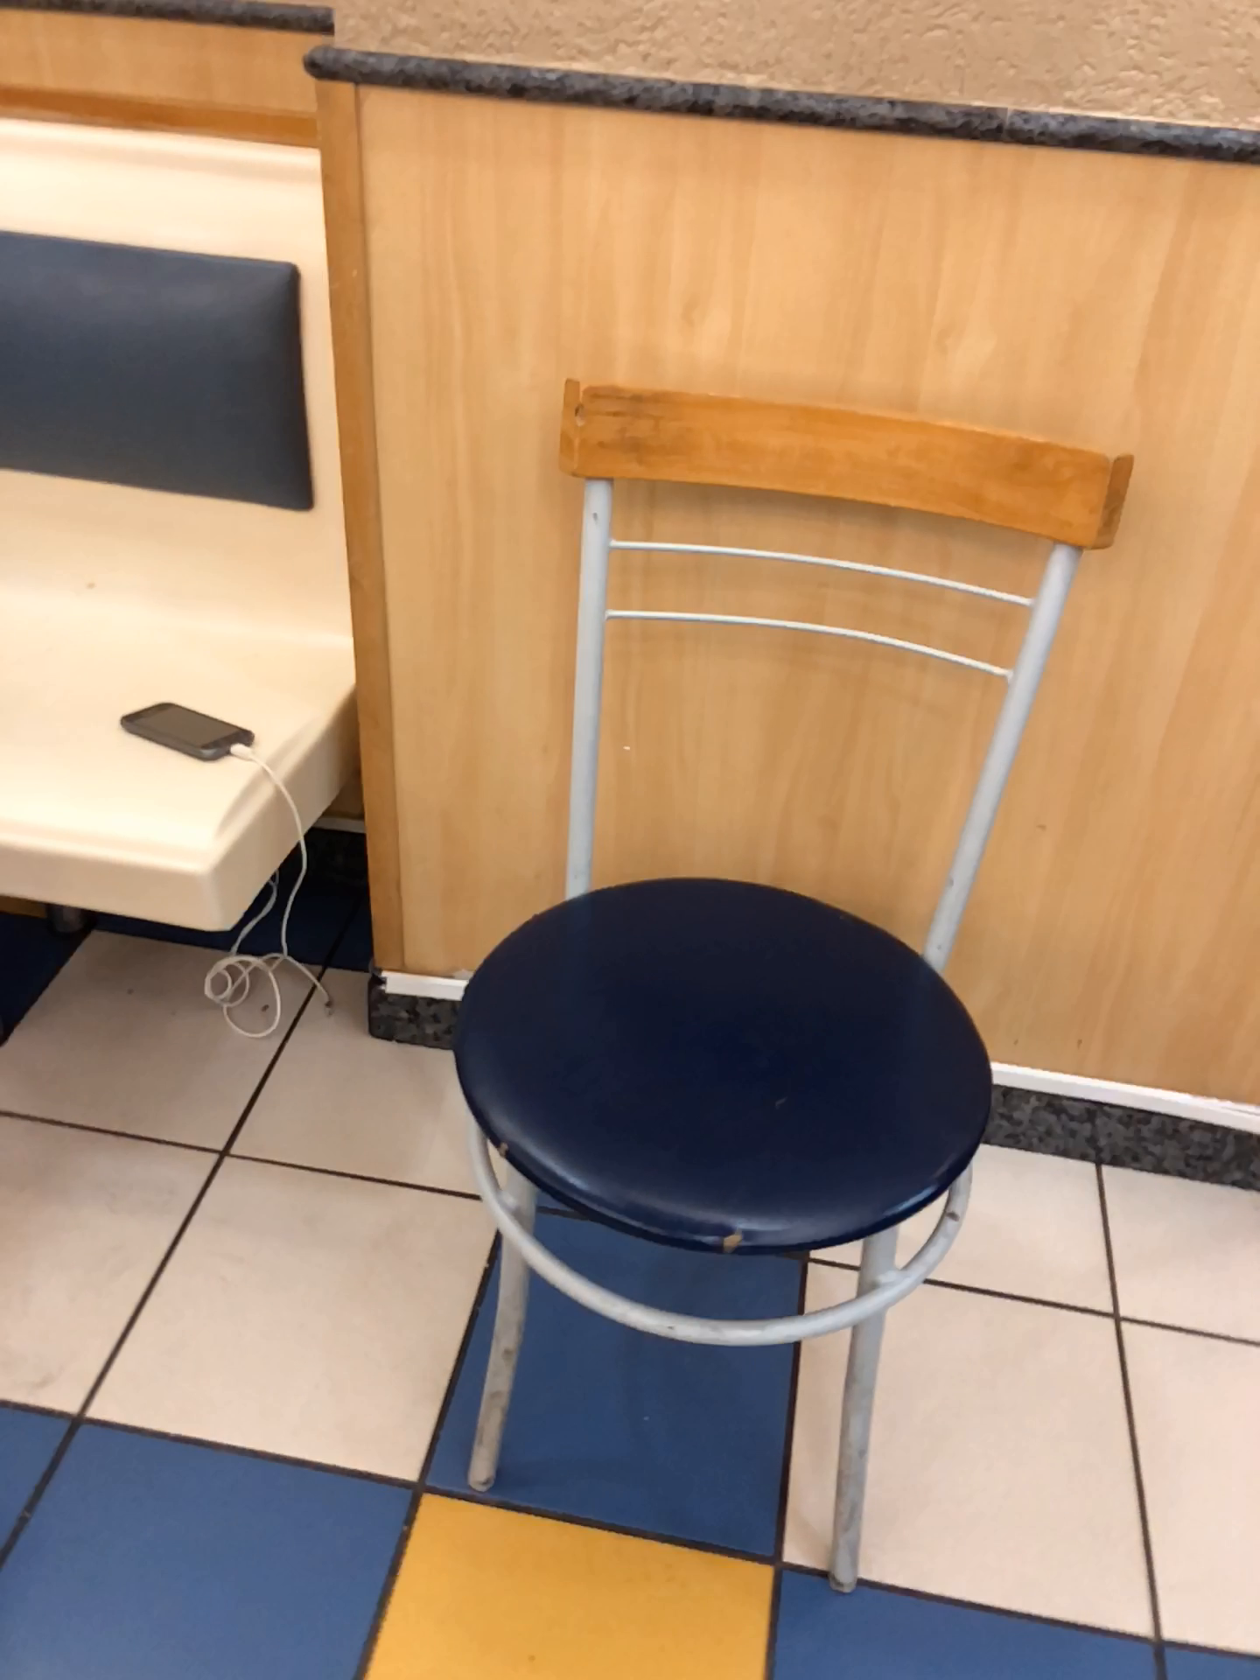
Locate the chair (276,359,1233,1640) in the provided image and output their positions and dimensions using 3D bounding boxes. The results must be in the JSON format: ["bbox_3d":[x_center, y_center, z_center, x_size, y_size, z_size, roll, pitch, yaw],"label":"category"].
[{"bbox_3d":[0.081,0.109,1.054,0.440,0.744,0.524,9,35,8],"label":"chair"}]
